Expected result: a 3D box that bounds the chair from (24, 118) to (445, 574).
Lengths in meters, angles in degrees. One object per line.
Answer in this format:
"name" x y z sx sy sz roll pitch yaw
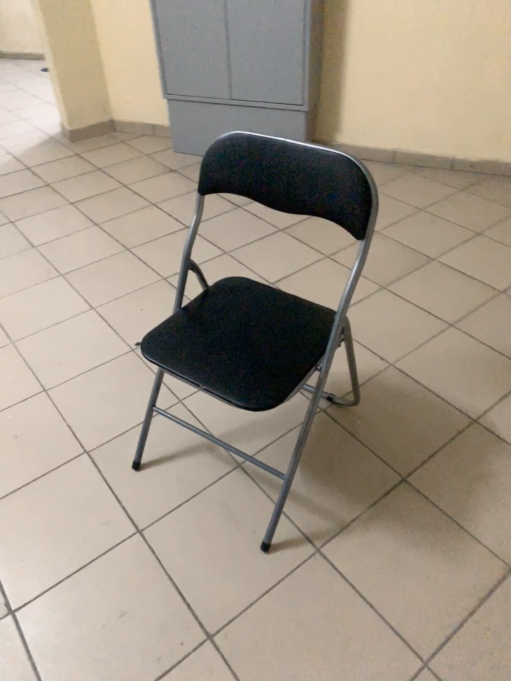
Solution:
"chair" -0.010 -0.020 1.206 0.571 0.727 0.561 23 46 27
